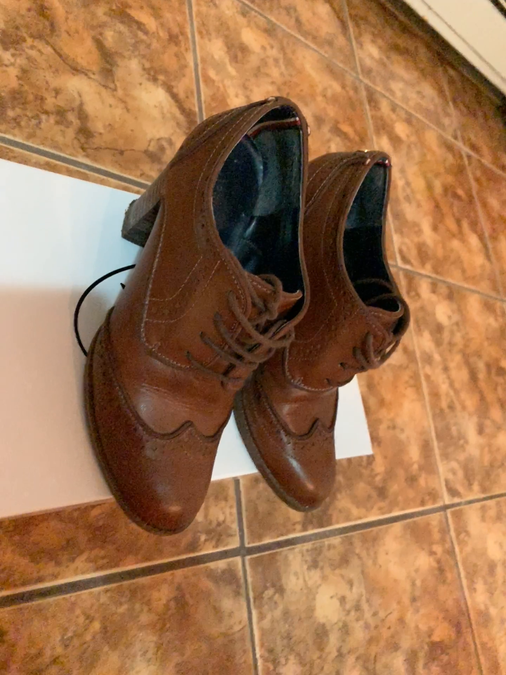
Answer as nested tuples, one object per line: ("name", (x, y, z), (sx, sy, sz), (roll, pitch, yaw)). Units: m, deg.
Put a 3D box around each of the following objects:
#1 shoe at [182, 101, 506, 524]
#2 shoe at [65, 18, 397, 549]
("shoe", (0.049, -0.006, 0.353), (0.096, 0.136, 0.228), (0, 73, -43))
("shoe", (-0.028, -0.014, 0.286), (0.096, 0.136, 0.228), (9, 66, -40))
